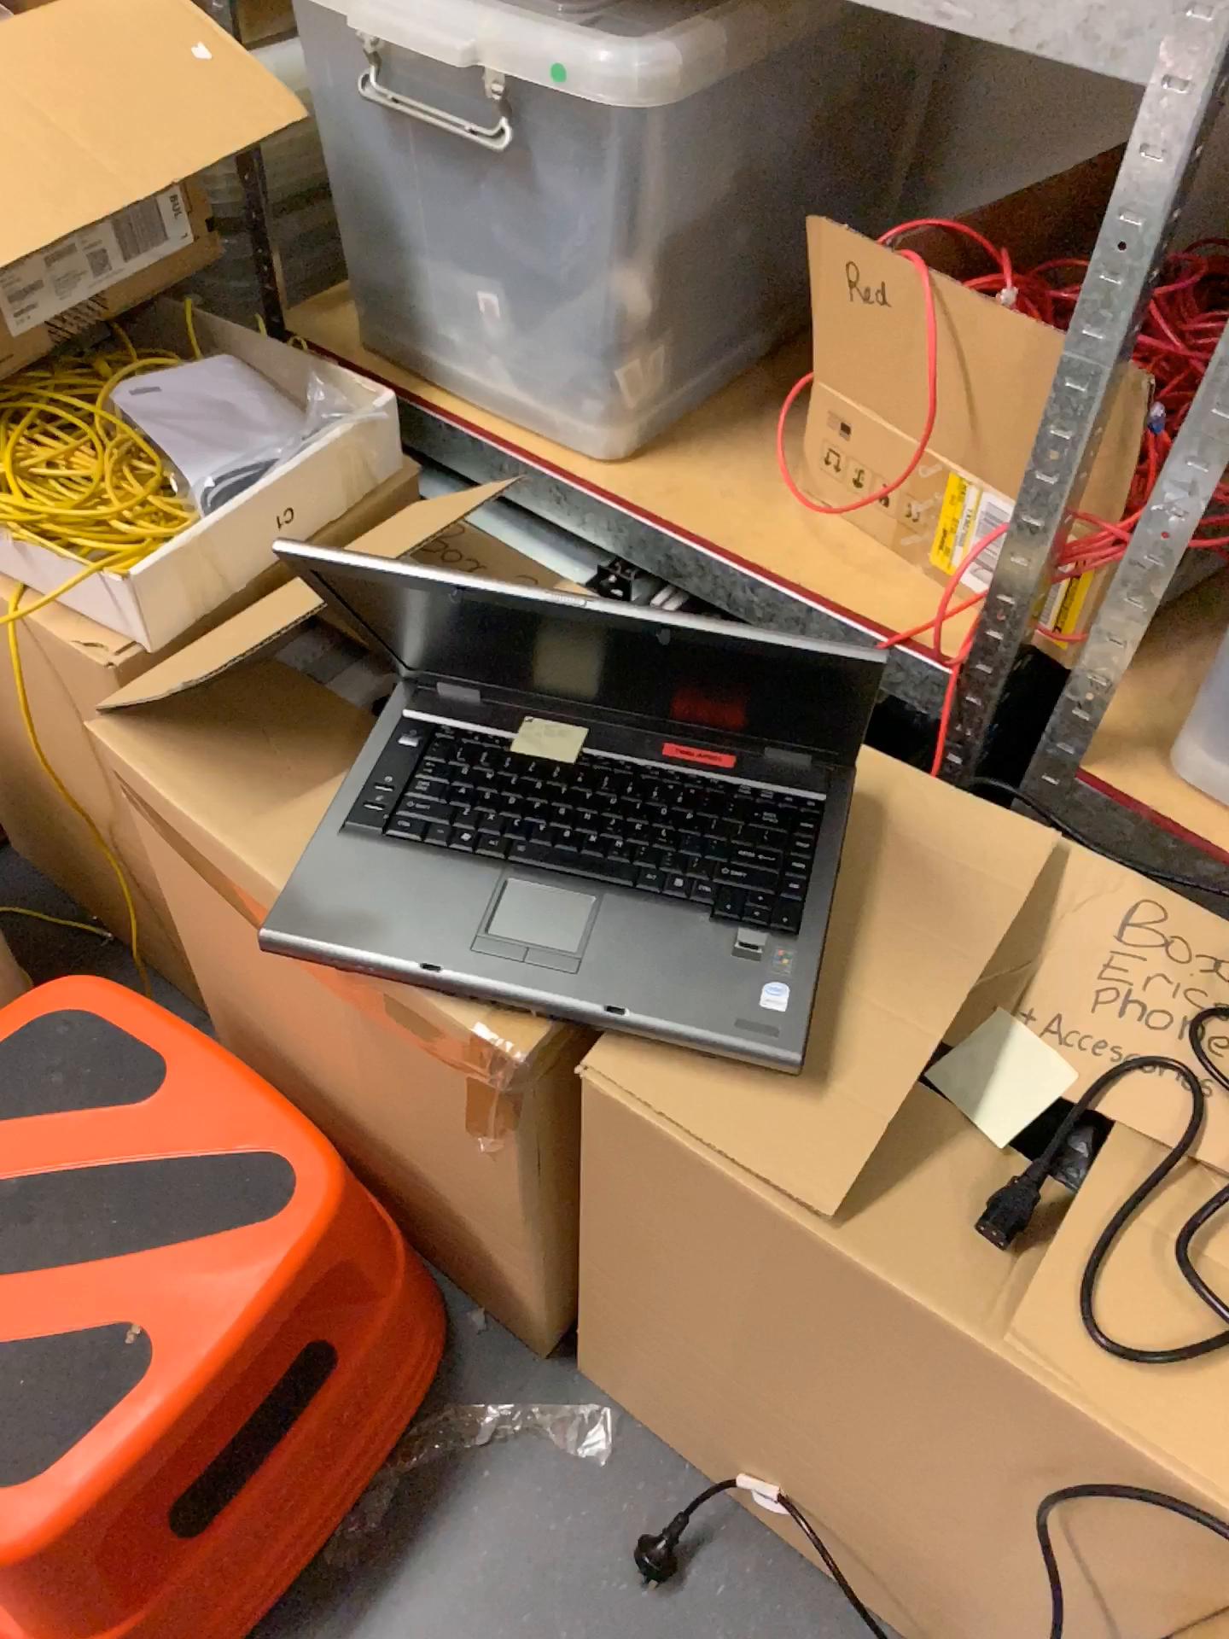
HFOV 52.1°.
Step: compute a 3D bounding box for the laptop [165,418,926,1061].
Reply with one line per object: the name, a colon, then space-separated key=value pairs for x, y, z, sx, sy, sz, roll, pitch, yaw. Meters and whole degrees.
laptop: x=-0.026 y=-0.058 z=0.783 sx=0.360 sy=0.238 sz=0.263 roll=12 pitch=48 yaw=9
